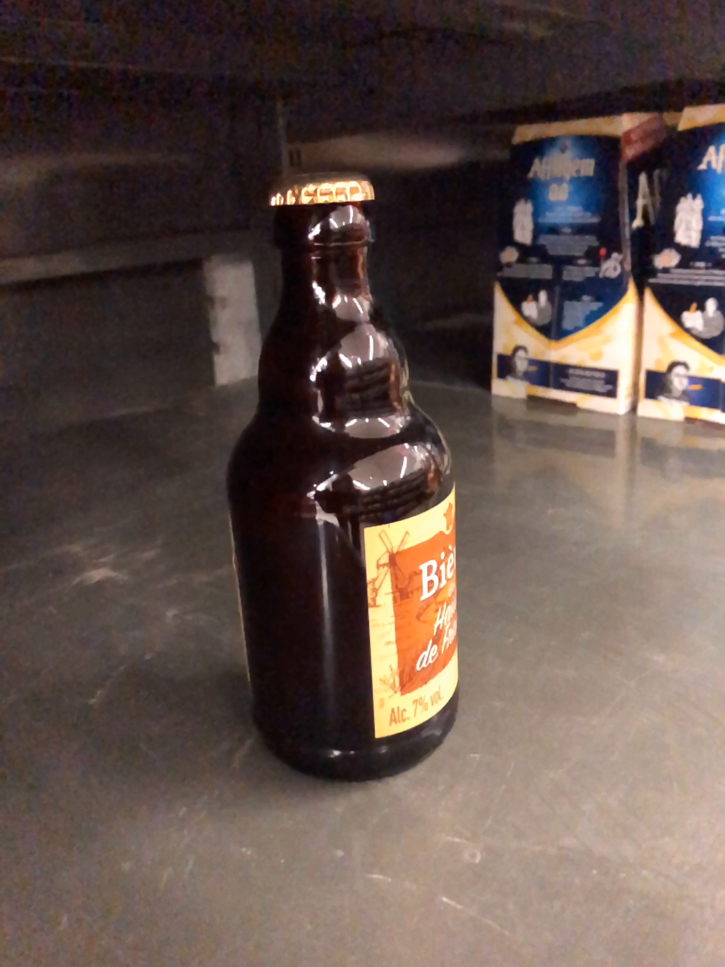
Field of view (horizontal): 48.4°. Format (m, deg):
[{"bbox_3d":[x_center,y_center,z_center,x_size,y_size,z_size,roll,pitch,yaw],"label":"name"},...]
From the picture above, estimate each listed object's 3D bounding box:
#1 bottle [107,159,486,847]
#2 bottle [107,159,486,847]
[{"bbox_3d":[-0.010,0.002,0.241,0.070,0.179,0.070,-4,20,1],"label":"bottle"},{"bbox_3d":[-0.010,0.002,0.241,0.070,0.179,0.070,-4,20,1],"label":"bottle"}]
